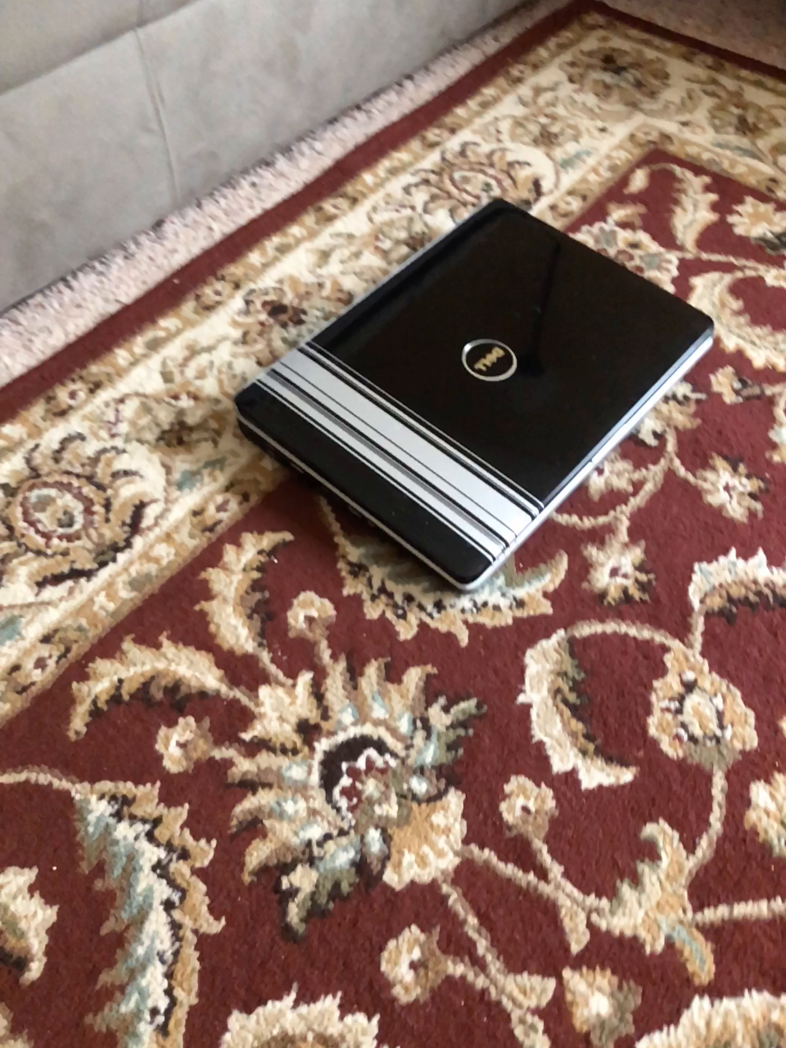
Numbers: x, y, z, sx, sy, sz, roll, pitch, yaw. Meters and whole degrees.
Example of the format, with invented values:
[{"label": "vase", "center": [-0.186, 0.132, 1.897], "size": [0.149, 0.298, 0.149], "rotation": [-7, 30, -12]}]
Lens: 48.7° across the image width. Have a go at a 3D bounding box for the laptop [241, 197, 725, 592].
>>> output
[{"label": "laptop", "center": [0.086, -0.134, 0.733], "size": [0.242, 0.015, 0.351], "rotation": [38, 63, 18]}]
